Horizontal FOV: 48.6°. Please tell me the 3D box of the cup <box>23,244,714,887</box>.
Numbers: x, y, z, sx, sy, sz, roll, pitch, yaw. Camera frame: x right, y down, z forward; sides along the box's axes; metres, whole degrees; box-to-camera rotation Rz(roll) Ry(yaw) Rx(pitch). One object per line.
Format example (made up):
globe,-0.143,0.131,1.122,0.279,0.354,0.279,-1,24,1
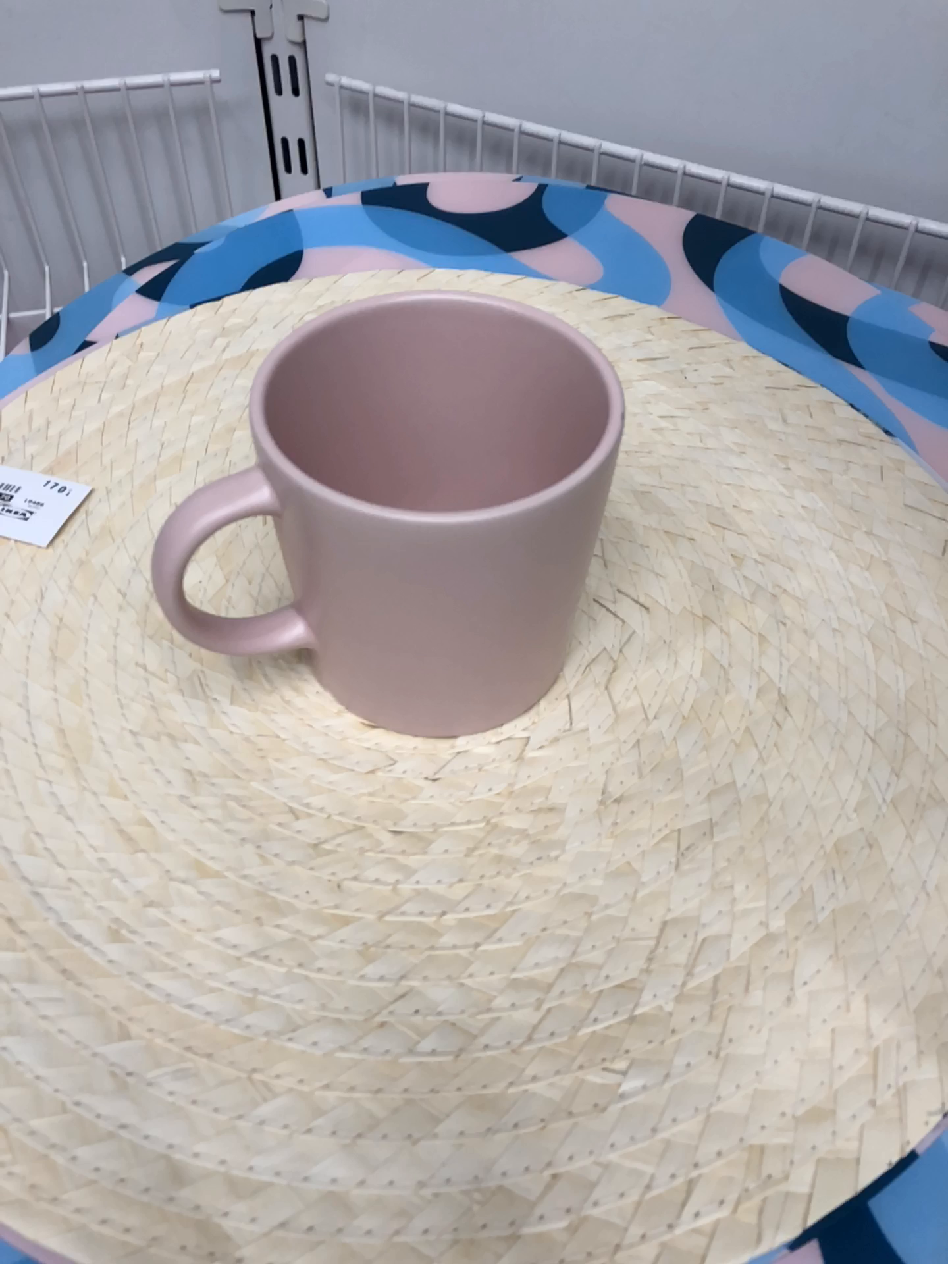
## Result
cup,-0.027,-0.024,0.280,0.130,0.090,0.100,-24,52,-22
